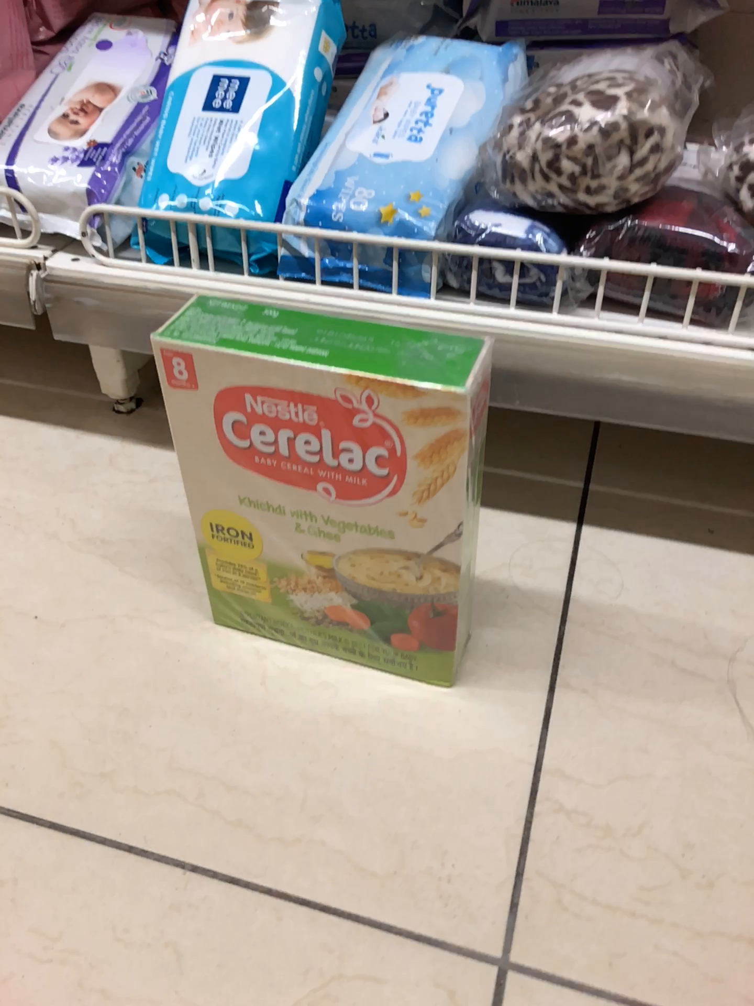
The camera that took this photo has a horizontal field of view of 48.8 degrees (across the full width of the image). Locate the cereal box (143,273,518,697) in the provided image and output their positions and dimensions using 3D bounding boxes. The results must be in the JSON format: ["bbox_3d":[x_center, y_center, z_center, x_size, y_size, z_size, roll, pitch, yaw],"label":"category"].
[{"bbox_3d":[-0.020,-0.005,0.441,0.160,0.199,0.060,12,41,16],"label":"cereal box"}]
